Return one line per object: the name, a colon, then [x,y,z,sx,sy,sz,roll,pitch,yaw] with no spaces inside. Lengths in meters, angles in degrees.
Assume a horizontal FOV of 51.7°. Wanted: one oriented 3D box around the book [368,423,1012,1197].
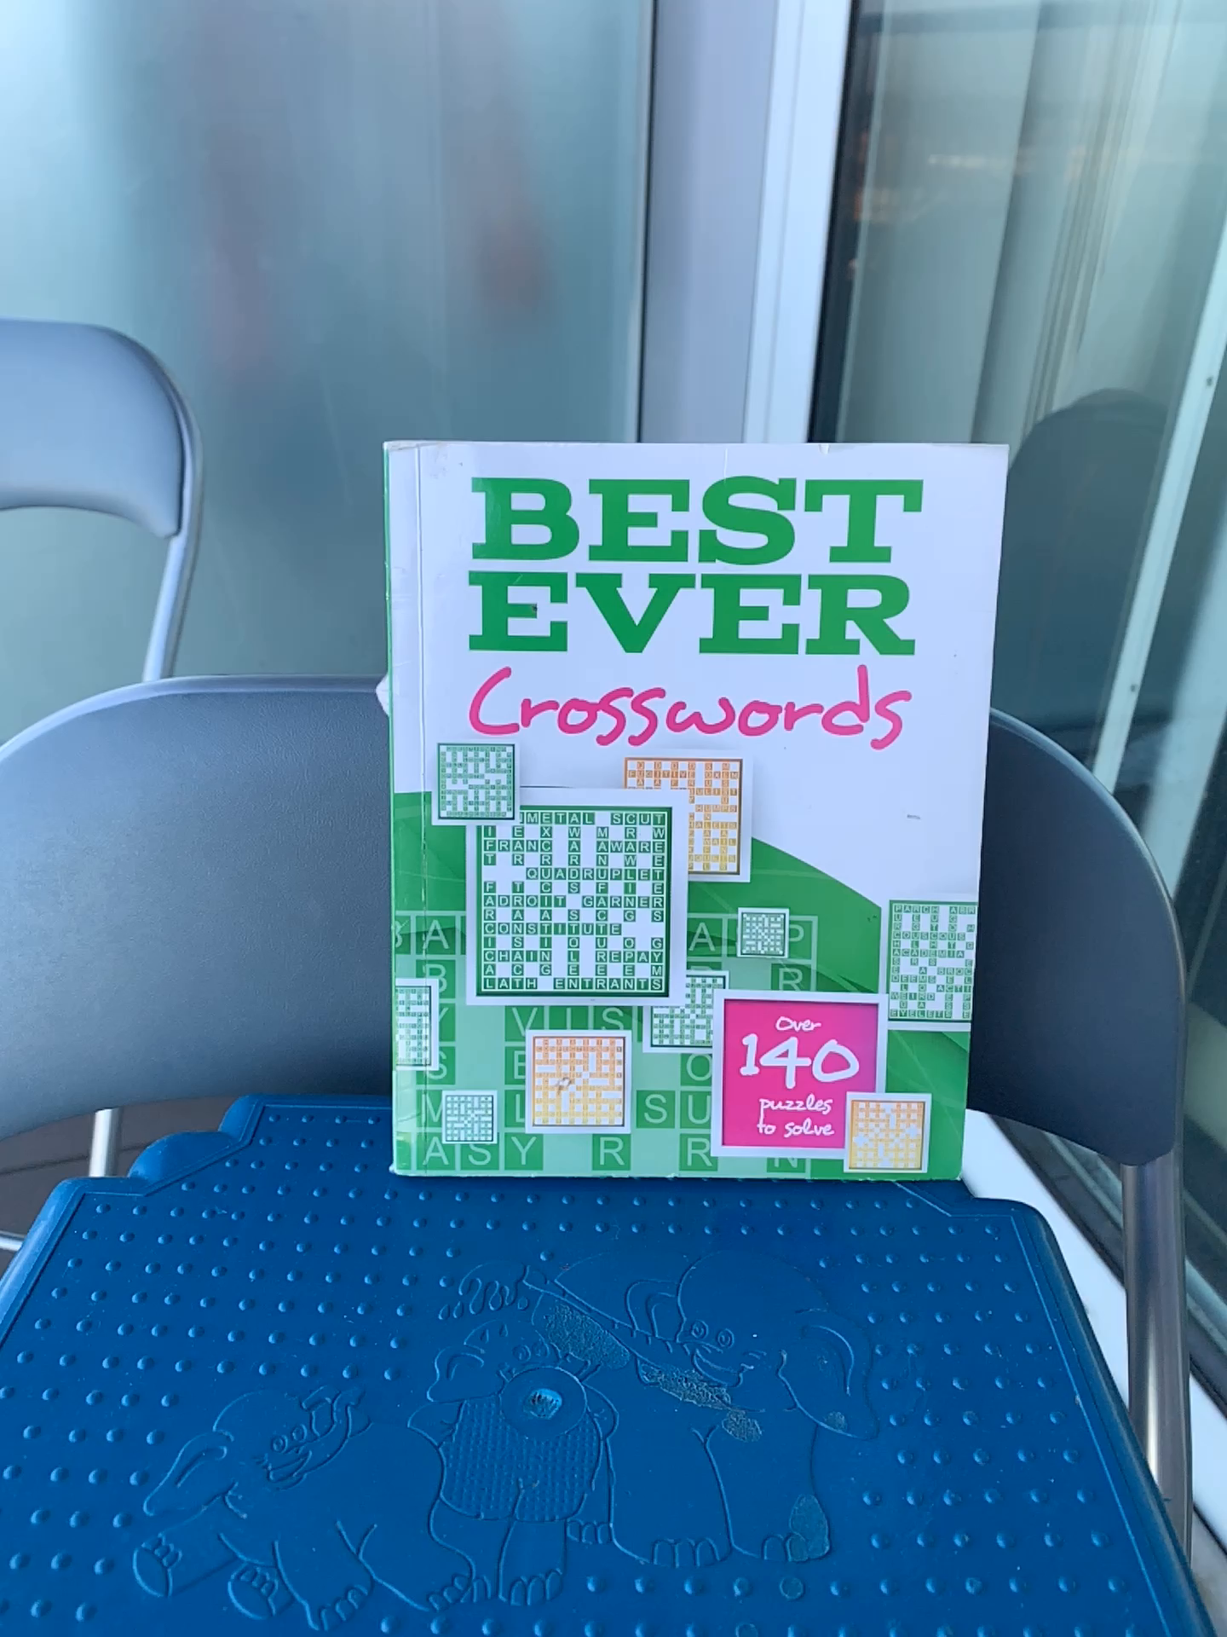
book: [0.017,0.000,0.336,0.157,0.196,0.030,1,8,-2]
